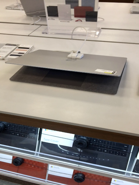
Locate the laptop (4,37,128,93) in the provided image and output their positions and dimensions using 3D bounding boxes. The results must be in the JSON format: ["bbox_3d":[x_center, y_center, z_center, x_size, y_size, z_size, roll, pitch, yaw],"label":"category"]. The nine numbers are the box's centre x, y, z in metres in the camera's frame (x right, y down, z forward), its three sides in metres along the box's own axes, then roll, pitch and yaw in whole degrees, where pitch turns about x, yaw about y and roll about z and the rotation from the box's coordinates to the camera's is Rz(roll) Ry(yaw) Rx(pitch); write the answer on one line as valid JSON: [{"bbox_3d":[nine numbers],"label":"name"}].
[{"bbox_3d":[0.001,-0.105,0.610,0.337,0.062,0.213,9,41,15],"label":"laptop"}]
